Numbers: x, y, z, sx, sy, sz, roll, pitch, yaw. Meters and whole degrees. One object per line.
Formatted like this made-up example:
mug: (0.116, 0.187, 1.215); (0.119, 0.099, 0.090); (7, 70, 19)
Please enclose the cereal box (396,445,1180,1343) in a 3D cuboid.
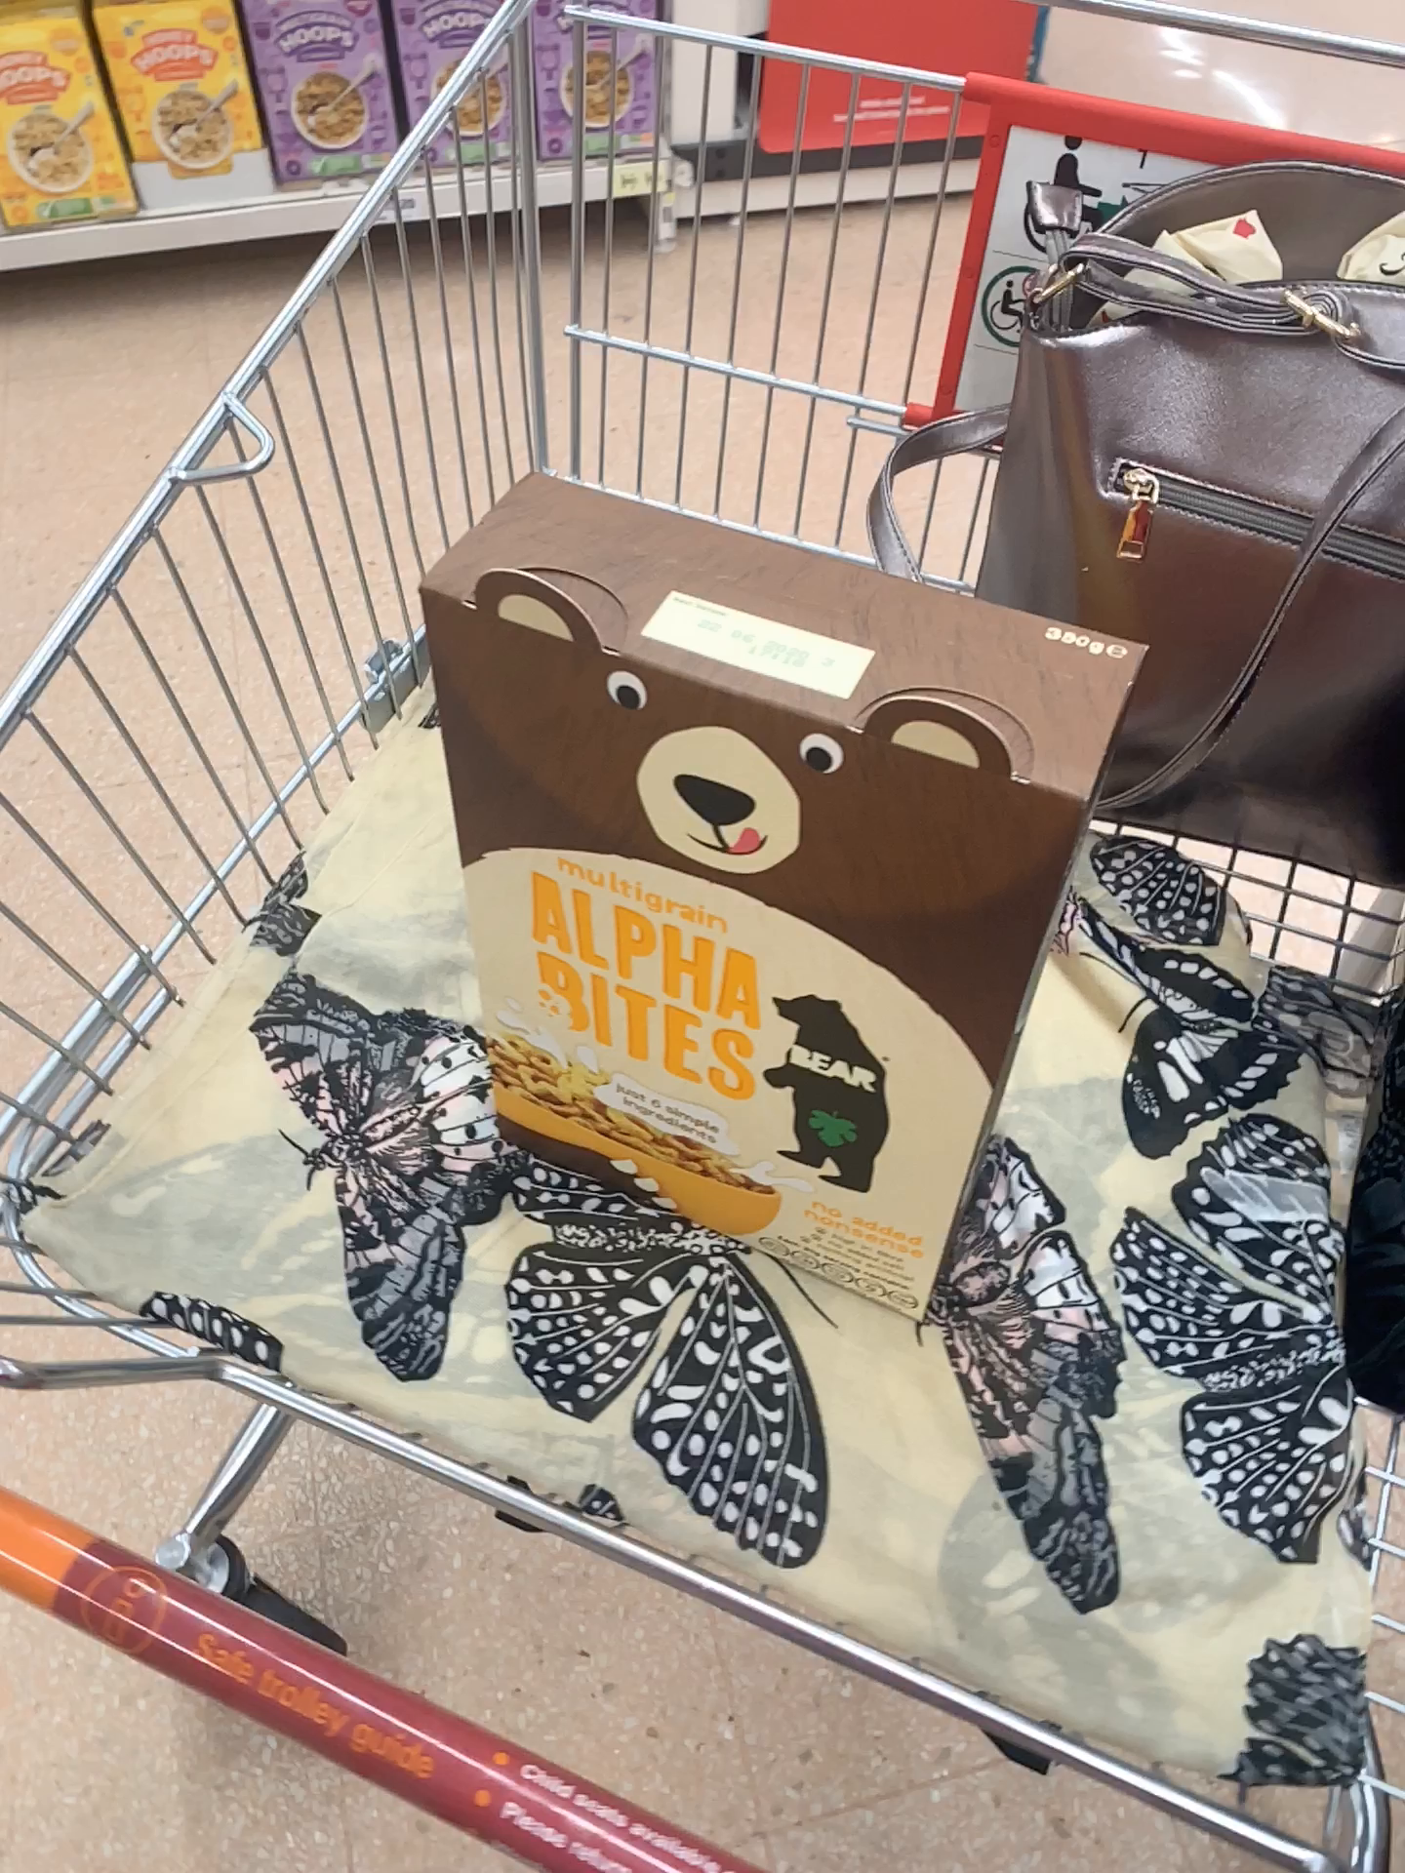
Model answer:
cereal box: (0.015, 0.007, 0.499); (0.200, 0.298, 0.070); (20, 51, 13)
